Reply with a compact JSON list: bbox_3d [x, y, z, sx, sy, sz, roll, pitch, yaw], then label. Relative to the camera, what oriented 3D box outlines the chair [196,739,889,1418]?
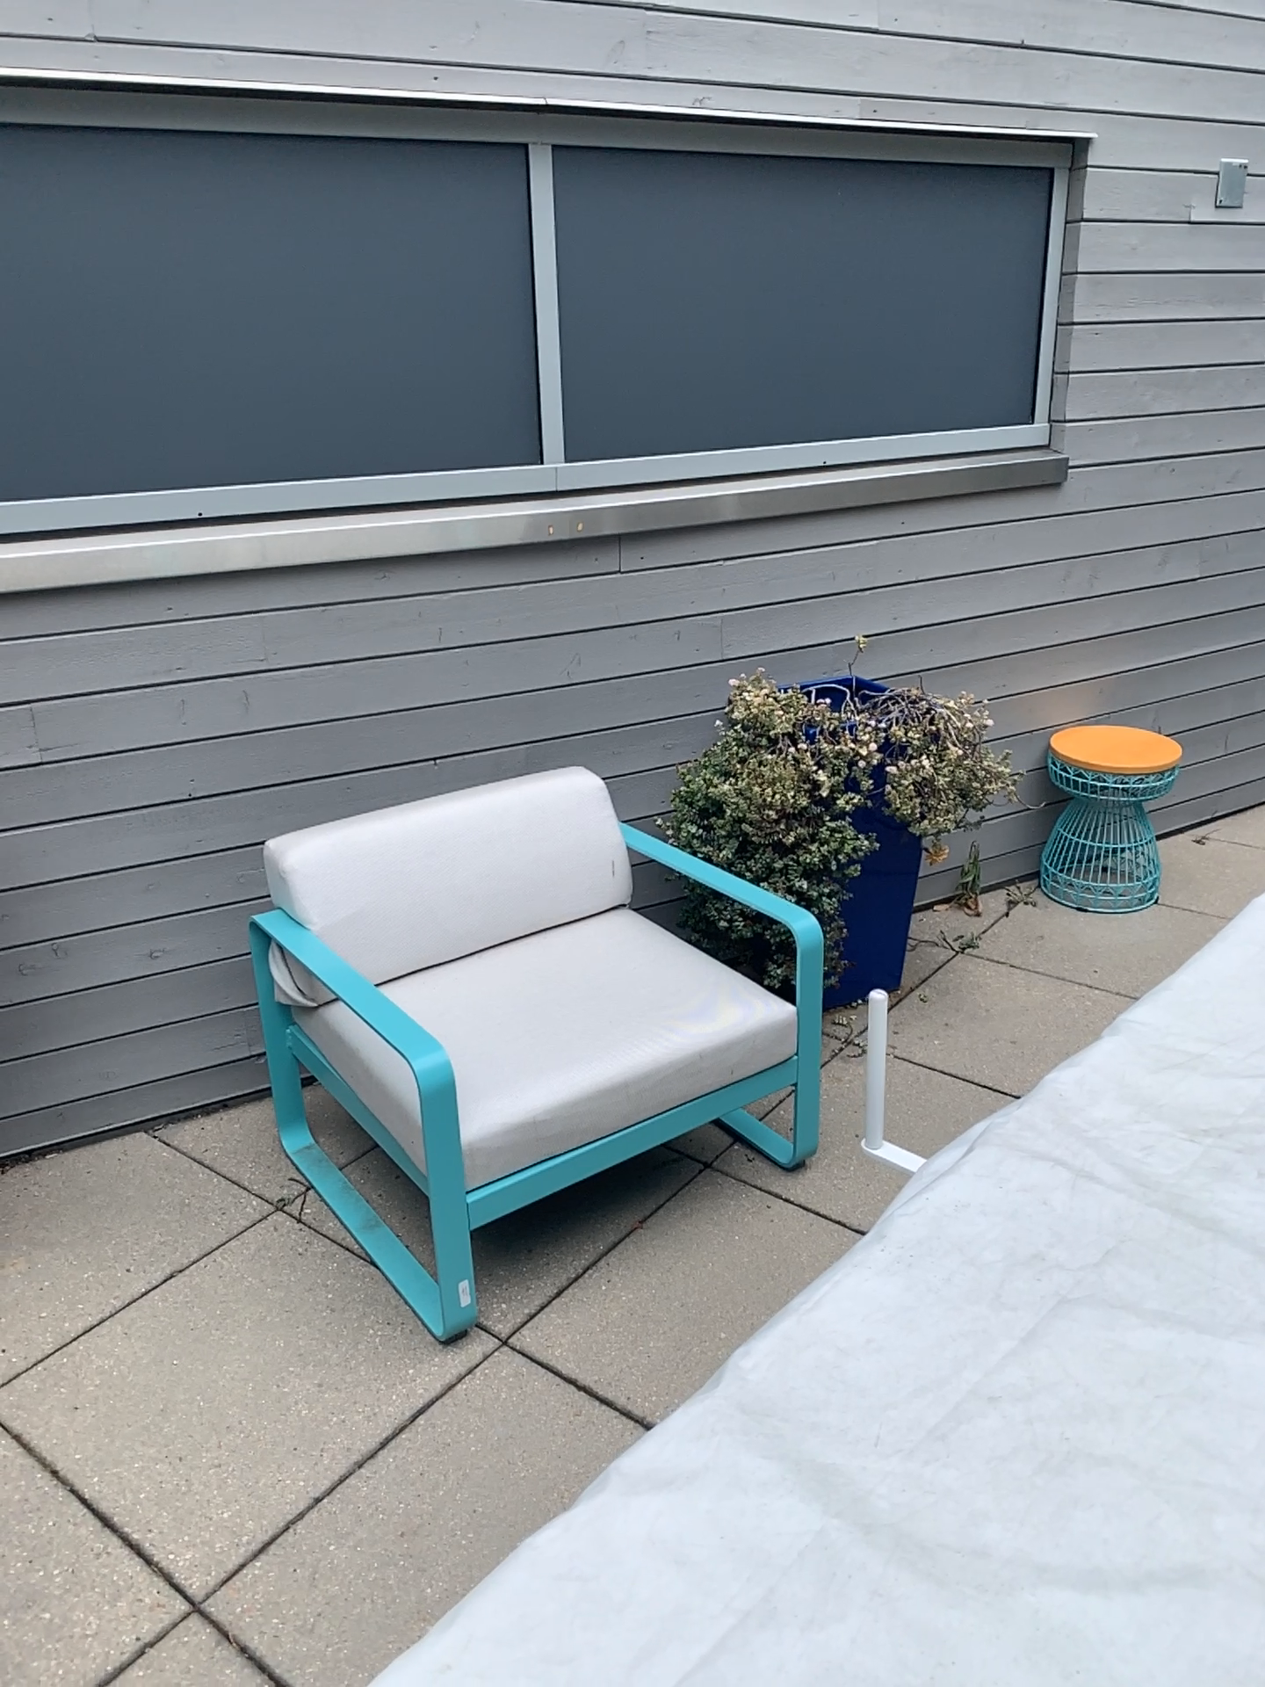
[{"bbox_3d":[-0.185,0.338,2.538,0.970,0.736,0.904,-15,25,-31],"label":"chair"}]
